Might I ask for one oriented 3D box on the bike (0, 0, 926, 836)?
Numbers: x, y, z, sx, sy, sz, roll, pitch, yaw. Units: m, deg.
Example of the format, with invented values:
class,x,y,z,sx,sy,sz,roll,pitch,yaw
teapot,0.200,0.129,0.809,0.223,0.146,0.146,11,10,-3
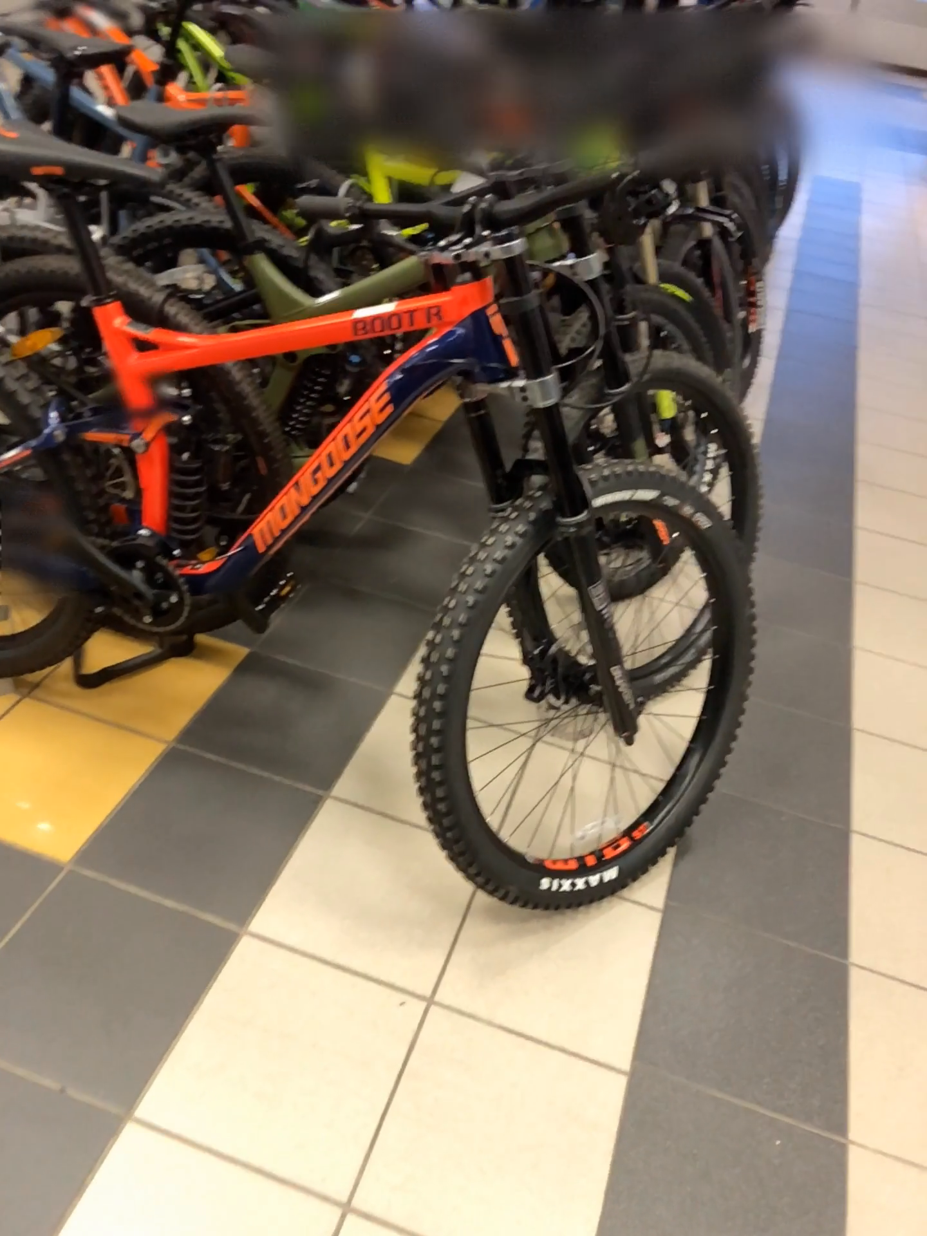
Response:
class,x,y,z,sx,sy,sz,roll,pitch,yaw
bike,-0.340,-0.404,1.632,1.697,1.108,0.805,8,35,2
